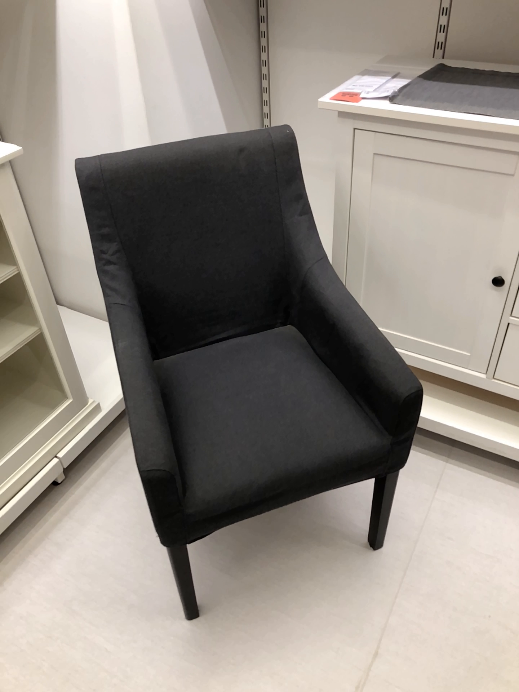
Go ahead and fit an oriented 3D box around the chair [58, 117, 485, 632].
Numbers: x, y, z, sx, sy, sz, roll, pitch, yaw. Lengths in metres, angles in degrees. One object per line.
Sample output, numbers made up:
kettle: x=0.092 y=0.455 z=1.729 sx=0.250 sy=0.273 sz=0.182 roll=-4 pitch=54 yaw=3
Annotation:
chair: x=-0.020 y=0.055 z=1.323 sx=0.610 sy=0.884 sz=0.624 roll=-14 pitch=40 yaw=-13
